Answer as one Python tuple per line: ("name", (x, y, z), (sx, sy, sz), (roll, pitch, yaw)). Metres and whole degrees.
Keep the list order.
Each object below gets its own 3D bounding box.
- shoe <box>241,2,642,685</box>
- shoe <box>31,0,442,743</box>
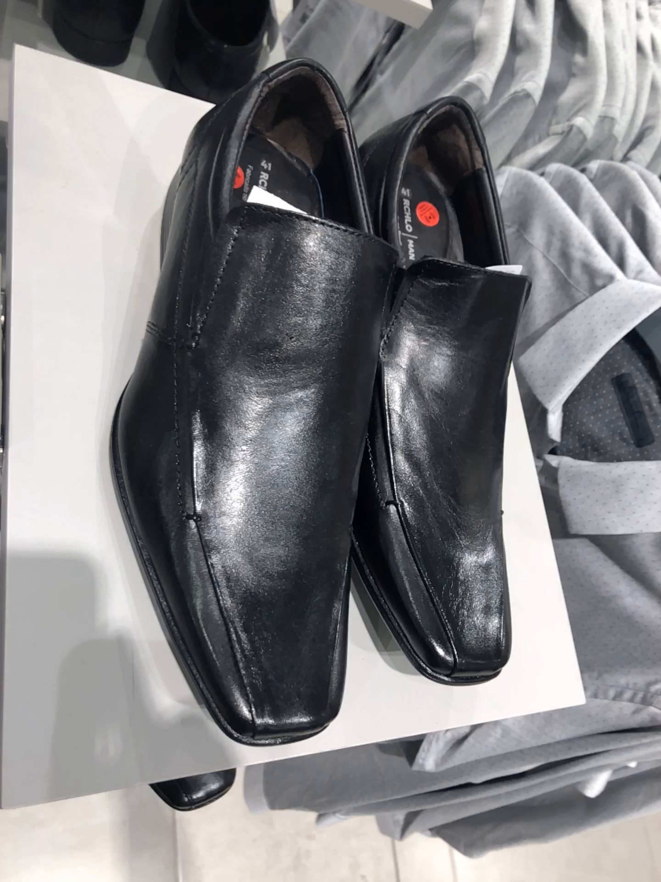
("shoe", (0.034, -0.041, 0.341), (0.110, 0.099, 0.281), (6, 67, -27))
("shoe", (-0.049, -0.044, 0.301), (0.110, 0.099, 0.301), (6, 67, -27))
